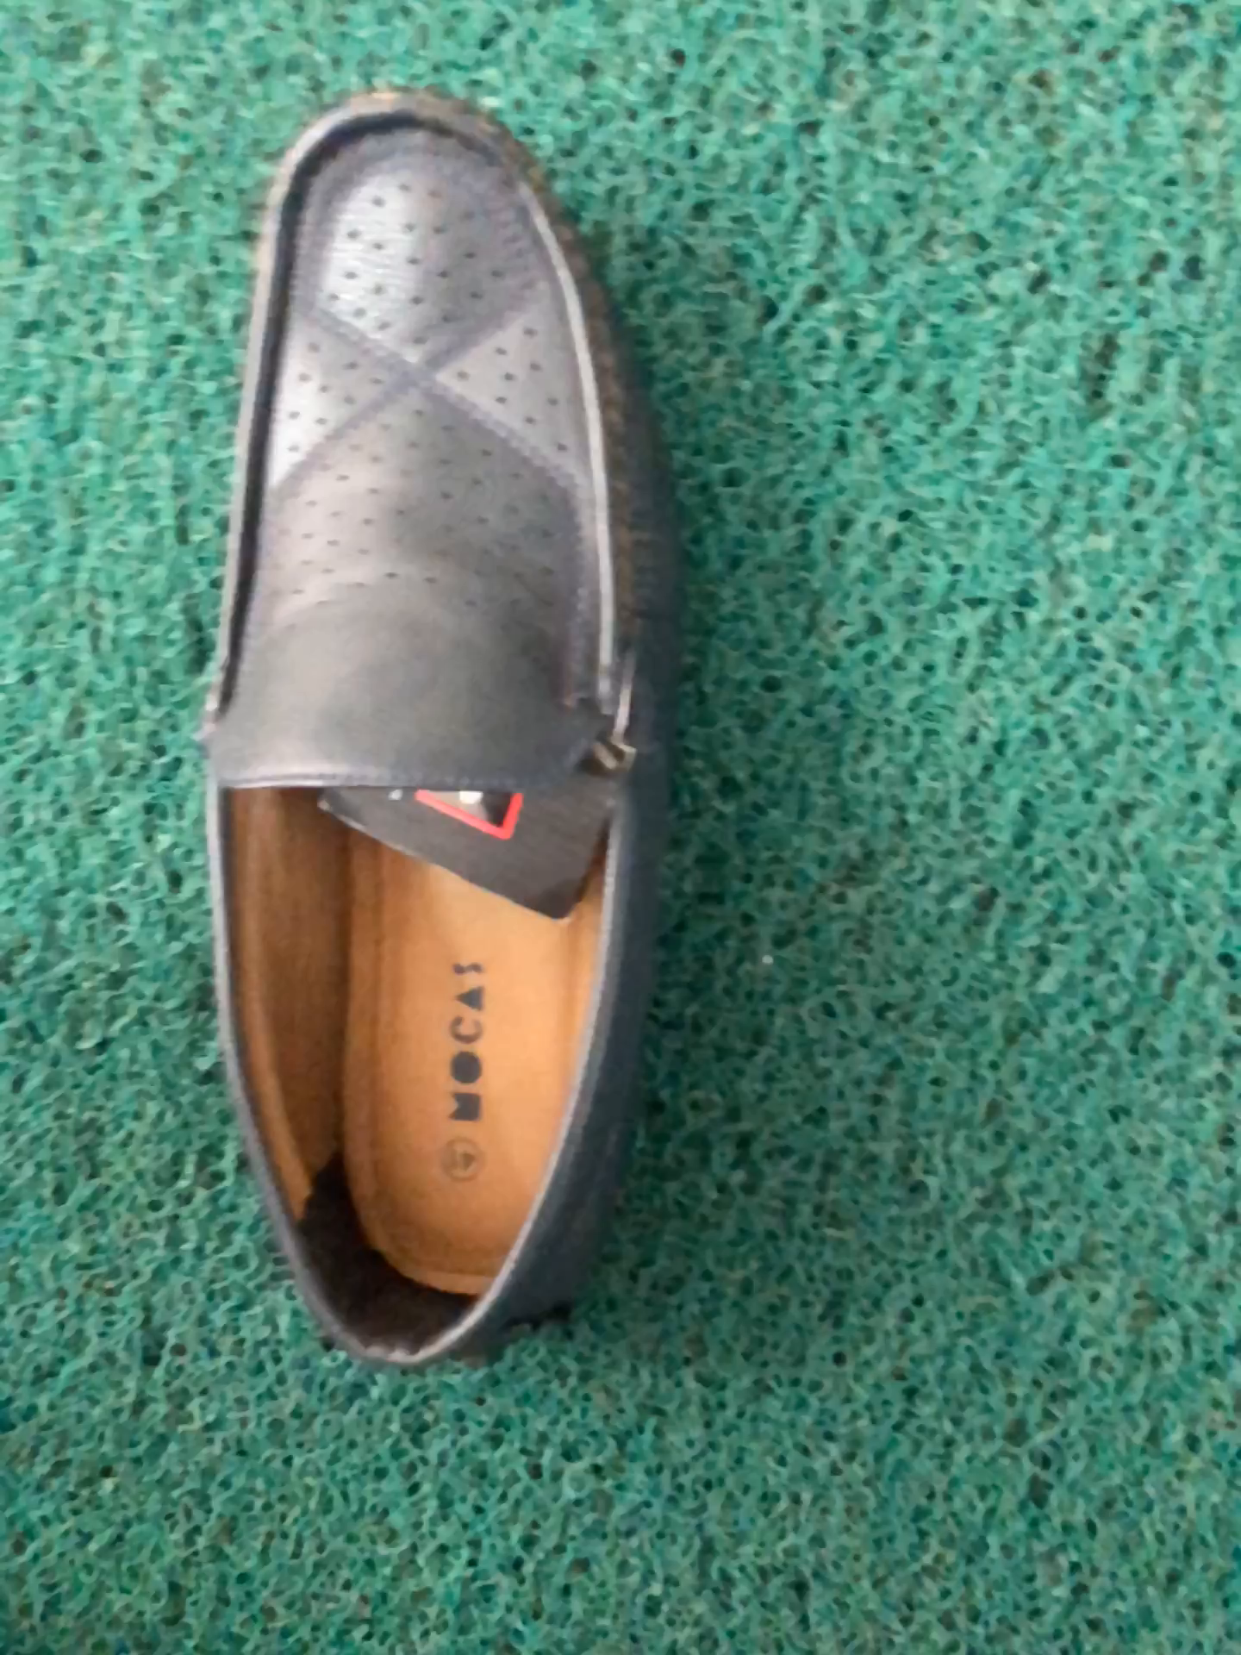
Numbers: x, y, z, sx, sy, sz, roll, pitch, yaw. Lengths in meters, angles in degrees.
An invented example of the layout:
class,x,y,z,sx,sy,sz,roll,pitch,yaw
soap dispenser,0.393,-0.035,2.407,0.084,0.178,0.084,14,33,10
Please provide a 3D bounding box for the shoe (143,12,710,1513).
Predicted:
class,x,y,z,sx,sy,sz,roll,pitch,yaw
shoe,-0.039,-0.010,0.298,0.100,0.070,0.280,3,95,8
